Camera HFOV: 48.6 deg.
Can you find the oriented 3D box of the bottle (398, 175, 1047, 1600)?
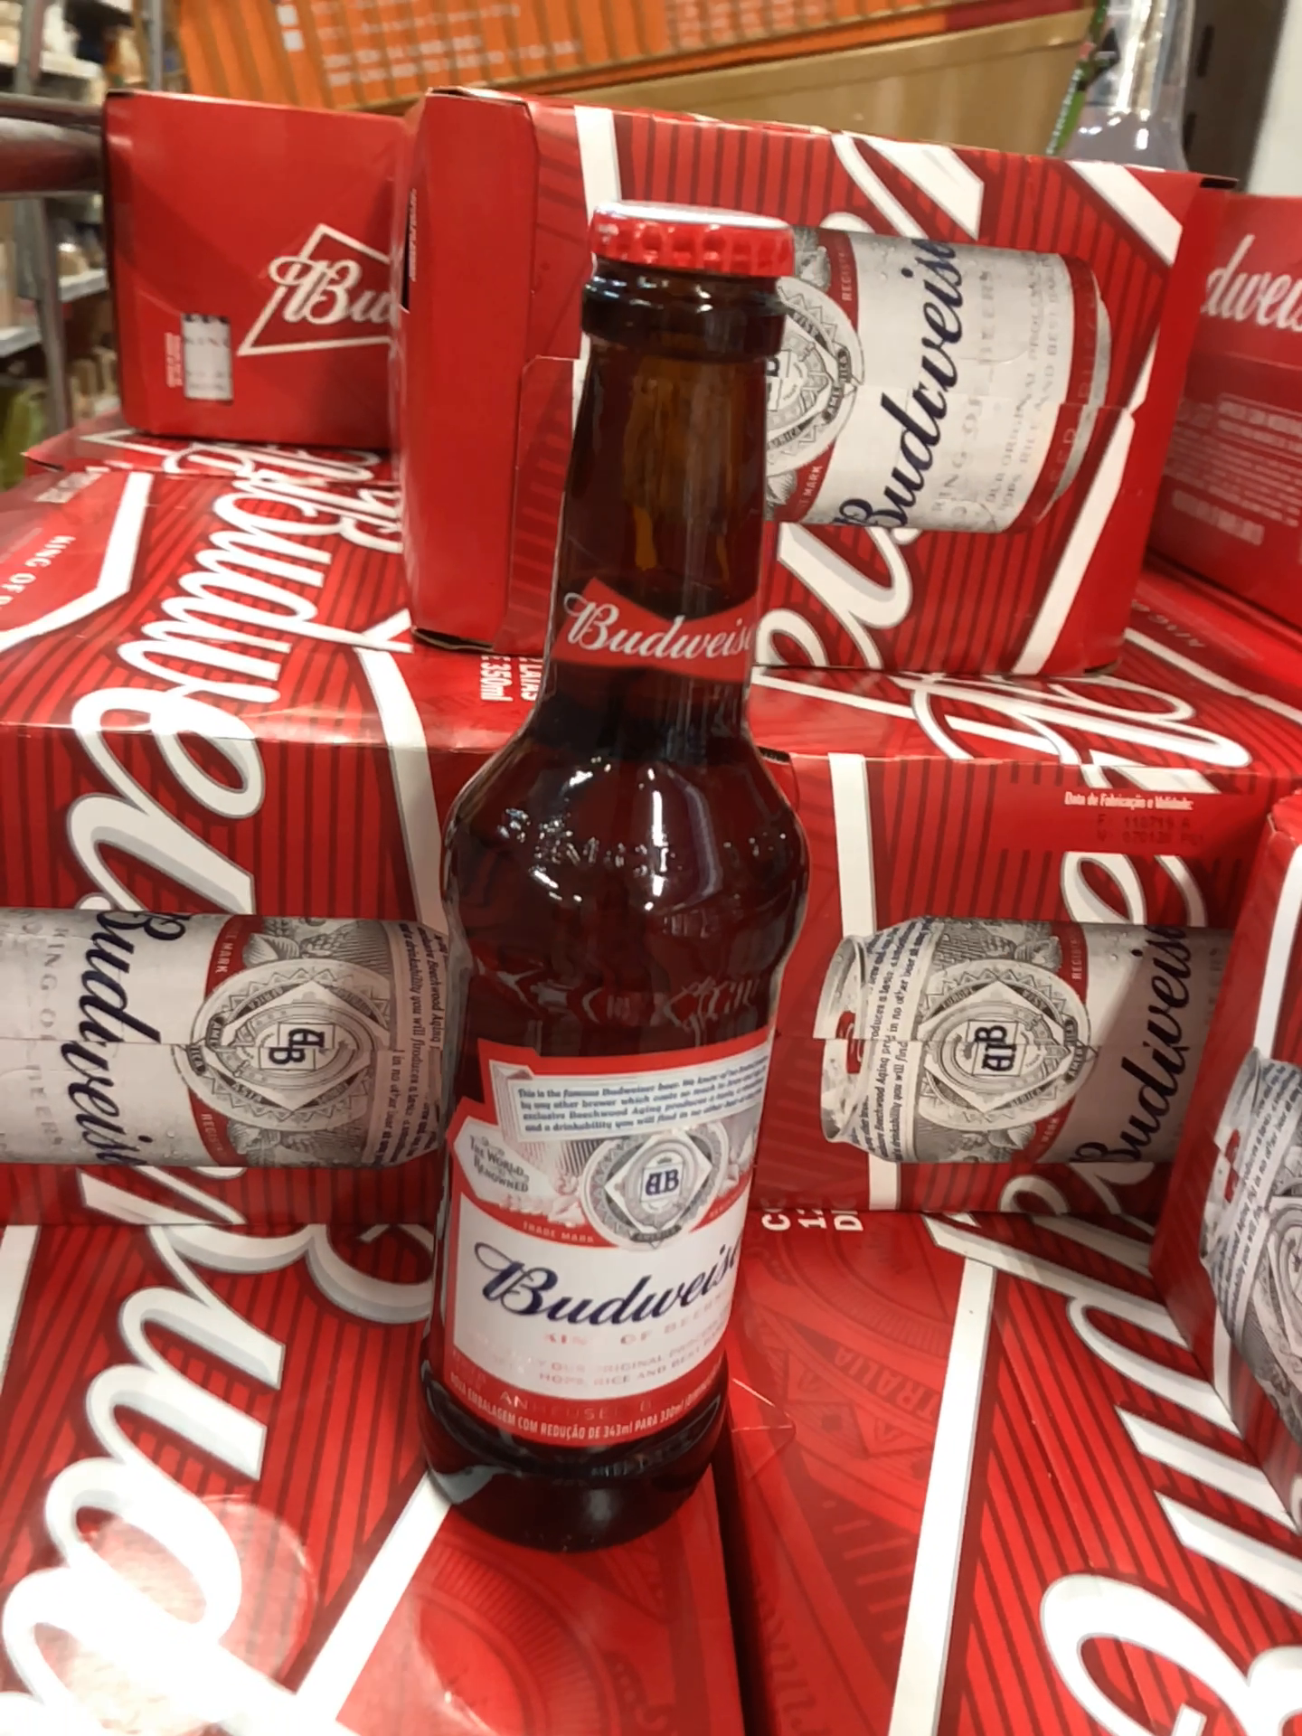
[{"bbox_3d":[-0.002,0.013,0.244,0.070,0.228,0.060,-2,26,-16],"label":"bottle"}]
